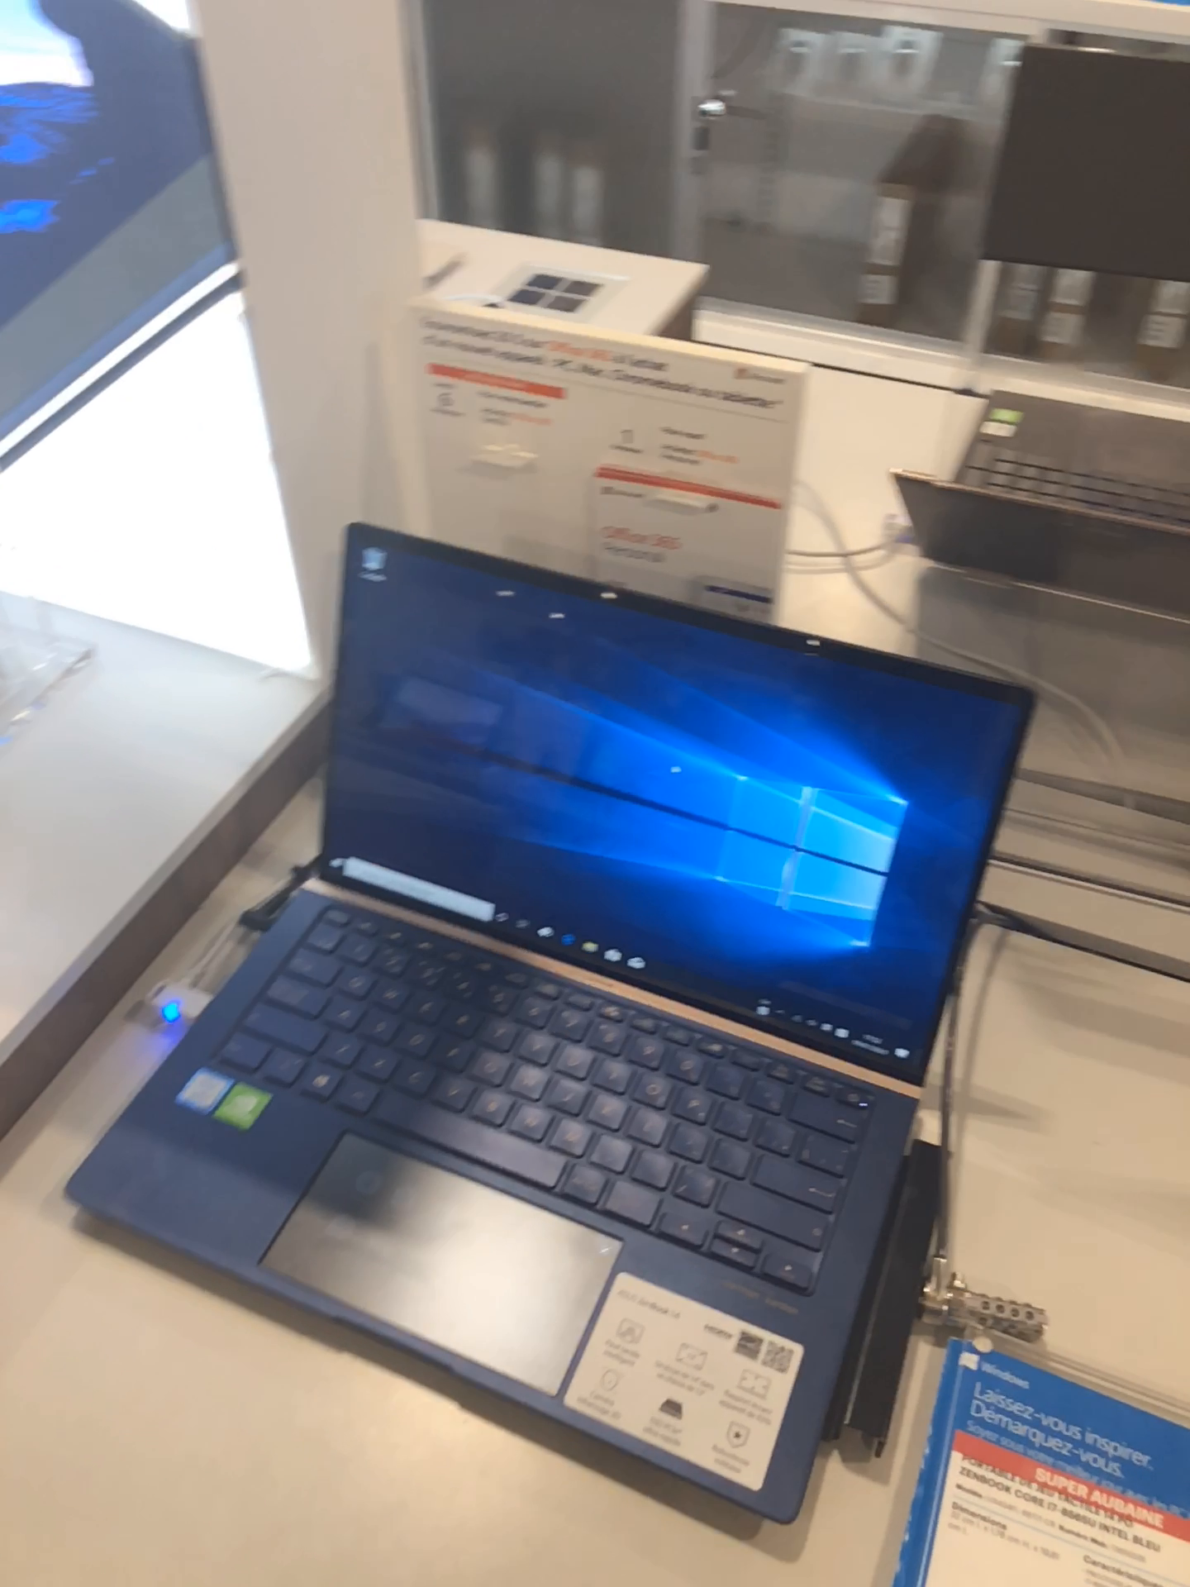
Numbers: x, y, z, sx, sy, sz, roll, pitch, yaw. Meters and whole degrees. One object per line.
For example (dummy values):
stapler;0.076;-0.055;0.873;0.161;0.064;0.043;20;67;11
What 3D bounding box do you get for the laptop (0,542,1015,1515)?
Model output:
laptop;-0.027;0.067;0.525;0.309;0.179;0.253;16;43;16
